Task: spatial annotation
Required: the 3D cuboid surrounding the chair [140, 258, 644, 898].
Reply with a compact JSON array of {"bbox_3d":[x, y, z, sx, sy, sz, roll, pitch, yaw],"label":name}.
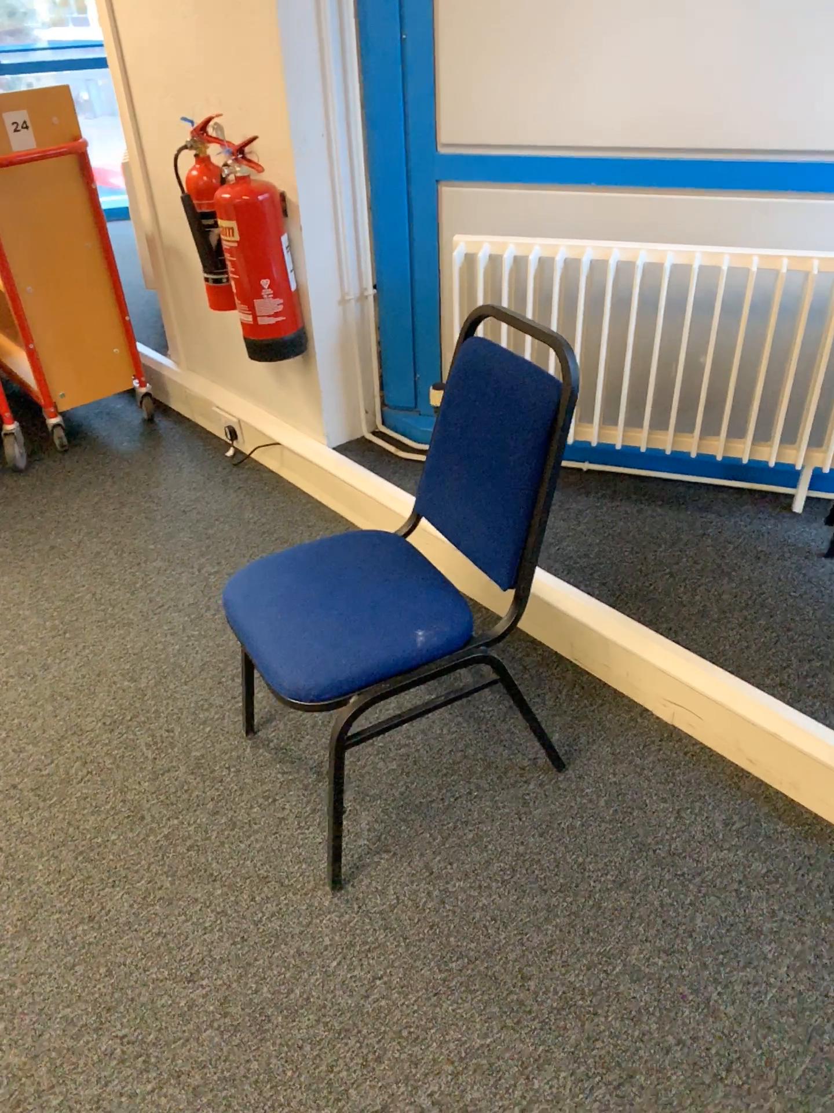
[{"bbox_3d":[-0.038,0.022,1.468,0.575,0.843,0.476,-20,38,-23],"label":"chair"}]
